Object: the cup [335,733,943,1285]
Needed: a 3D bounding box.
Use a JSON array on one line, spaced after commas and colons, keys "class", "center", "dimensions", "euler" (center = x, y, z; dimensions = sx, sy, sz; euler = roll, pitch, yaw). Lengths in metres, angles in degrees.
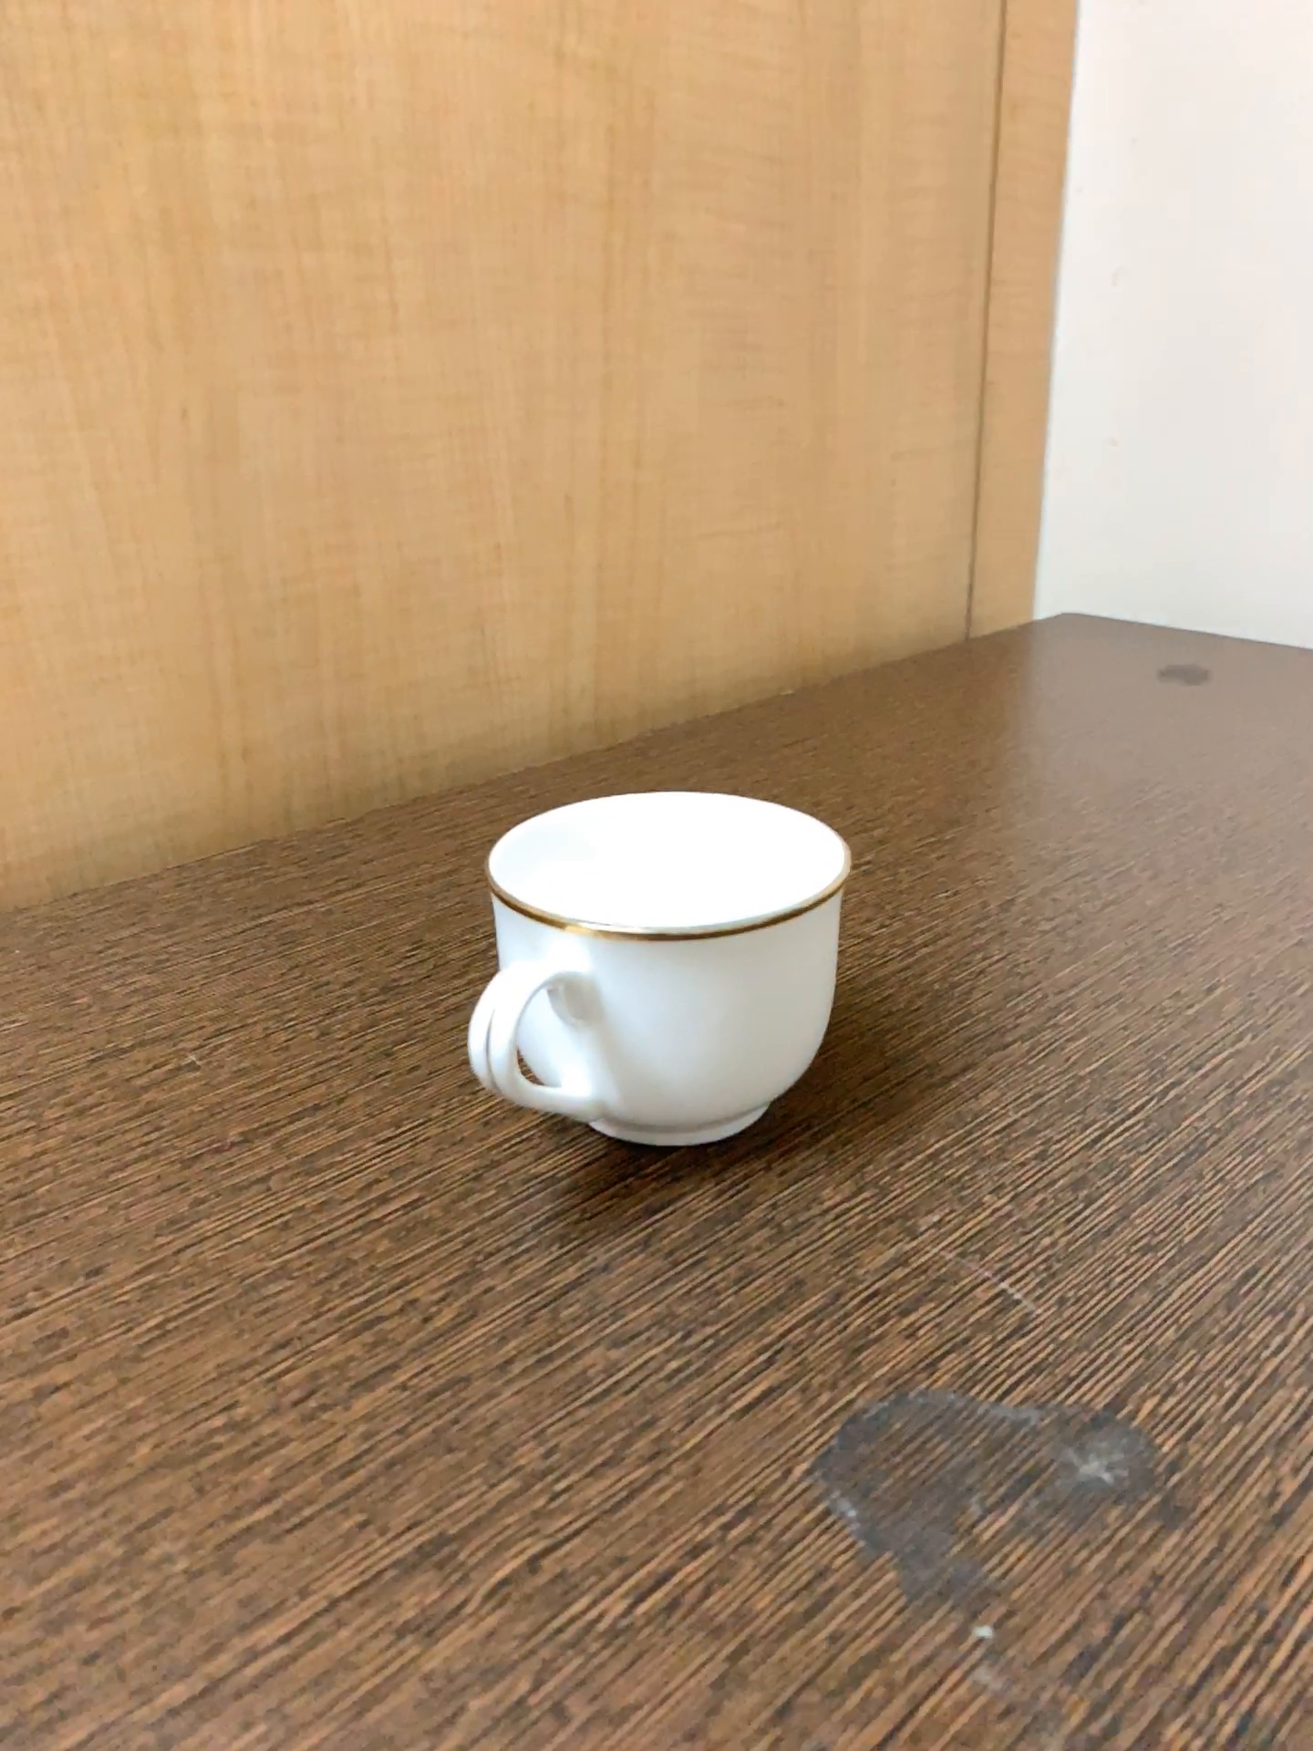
[{"class": "cup", "center": [0.002, 0.015, 0.234], "dimensions": [0.060, 0.050, 0.090], "euler": [13, 26, 32]}]
